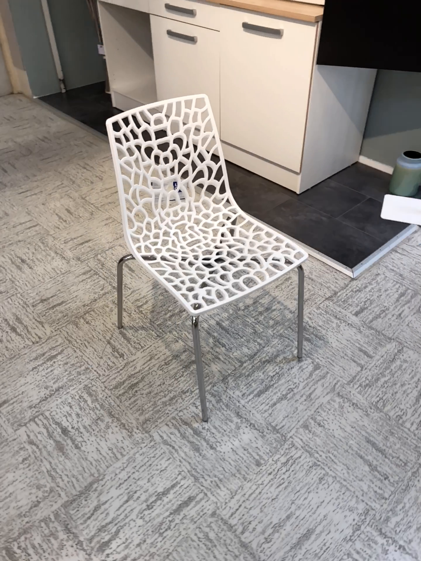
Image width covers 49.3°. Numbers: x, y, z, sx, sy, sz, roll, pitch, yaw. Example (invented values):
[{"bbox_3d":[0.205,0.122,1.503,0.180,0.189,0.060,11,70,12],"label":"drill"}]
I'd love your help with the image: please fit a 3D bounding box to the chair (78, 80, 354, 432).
[{"bbox_3d":[-0.003,-0.077,1.354,0.452,0.785,0.511,-25,46,-26],"label":"chair"}]
